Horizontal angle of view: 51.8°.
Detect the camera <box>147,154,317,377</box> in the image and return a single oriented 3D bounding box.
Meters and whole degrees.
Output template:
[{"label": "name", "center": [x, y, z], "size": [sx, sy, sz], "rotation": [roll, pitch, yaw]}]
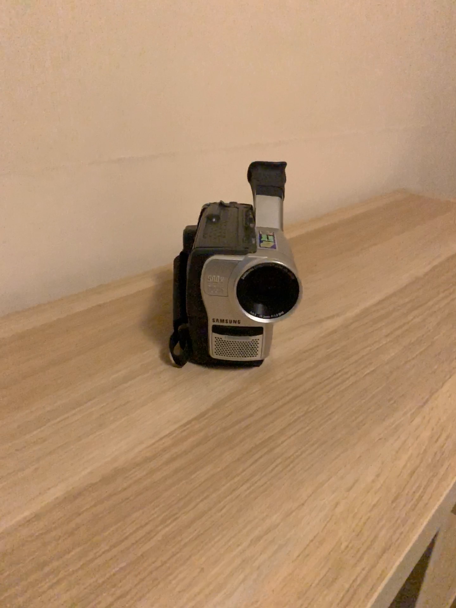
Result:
[{"label": "camera", "center": [0.000, -0.048, 0.408], "size": [0.106, 0.133, 0.193], "rotation": [1, 24, -1]}]
